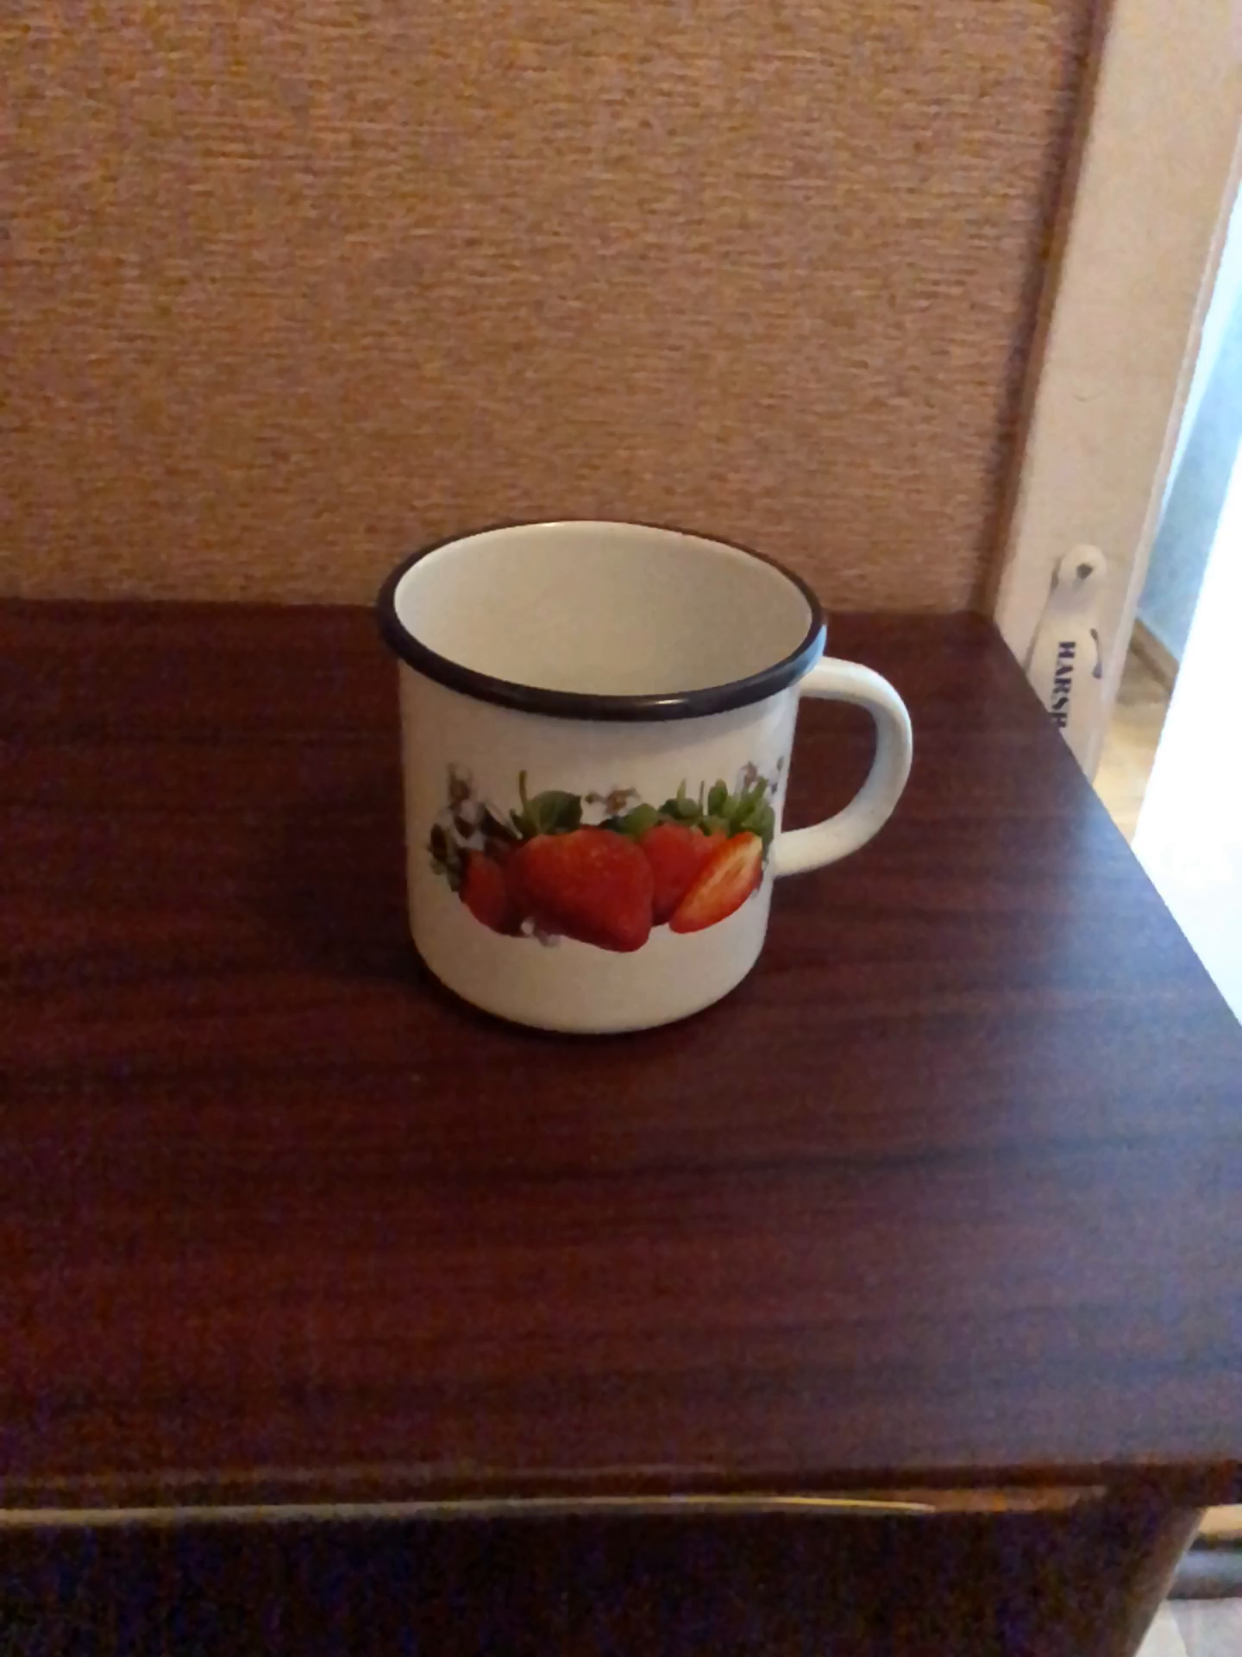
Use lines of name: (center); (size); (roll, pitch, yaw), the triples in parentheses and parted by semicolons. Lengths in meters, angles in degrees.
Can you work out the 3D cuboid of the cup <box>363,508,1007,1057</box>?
cup: (0.008, -0.020, 0.404); (0.155, 0.113, 0.119); (-2, 32, -7)
